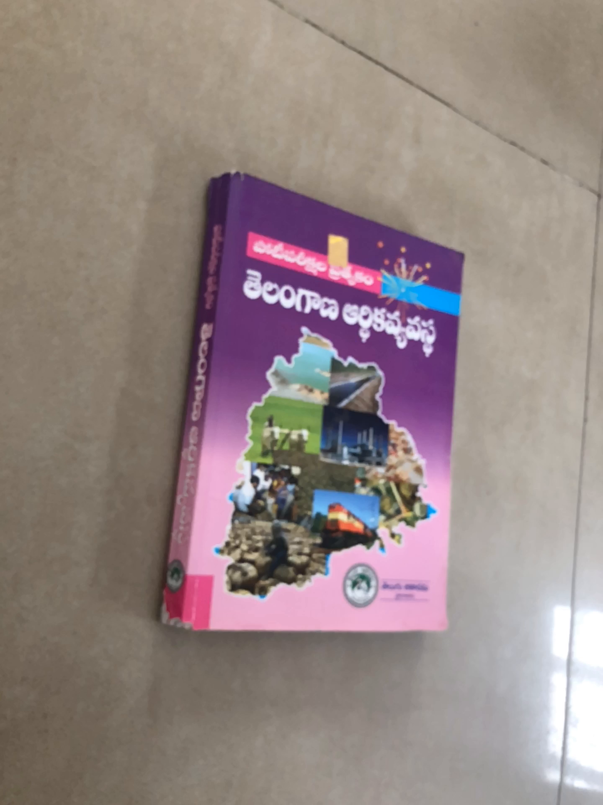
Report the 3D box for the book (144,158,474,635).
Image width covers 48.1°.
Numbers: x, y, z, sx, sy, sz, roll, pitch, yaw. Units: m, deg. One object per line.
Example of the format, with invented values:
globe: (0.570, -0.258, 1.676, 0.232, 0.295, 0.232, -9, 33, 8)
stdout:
book: (0.017, 0.007, 0.438, 0.192, 0.040, 0.268, 11, 81, -29)
